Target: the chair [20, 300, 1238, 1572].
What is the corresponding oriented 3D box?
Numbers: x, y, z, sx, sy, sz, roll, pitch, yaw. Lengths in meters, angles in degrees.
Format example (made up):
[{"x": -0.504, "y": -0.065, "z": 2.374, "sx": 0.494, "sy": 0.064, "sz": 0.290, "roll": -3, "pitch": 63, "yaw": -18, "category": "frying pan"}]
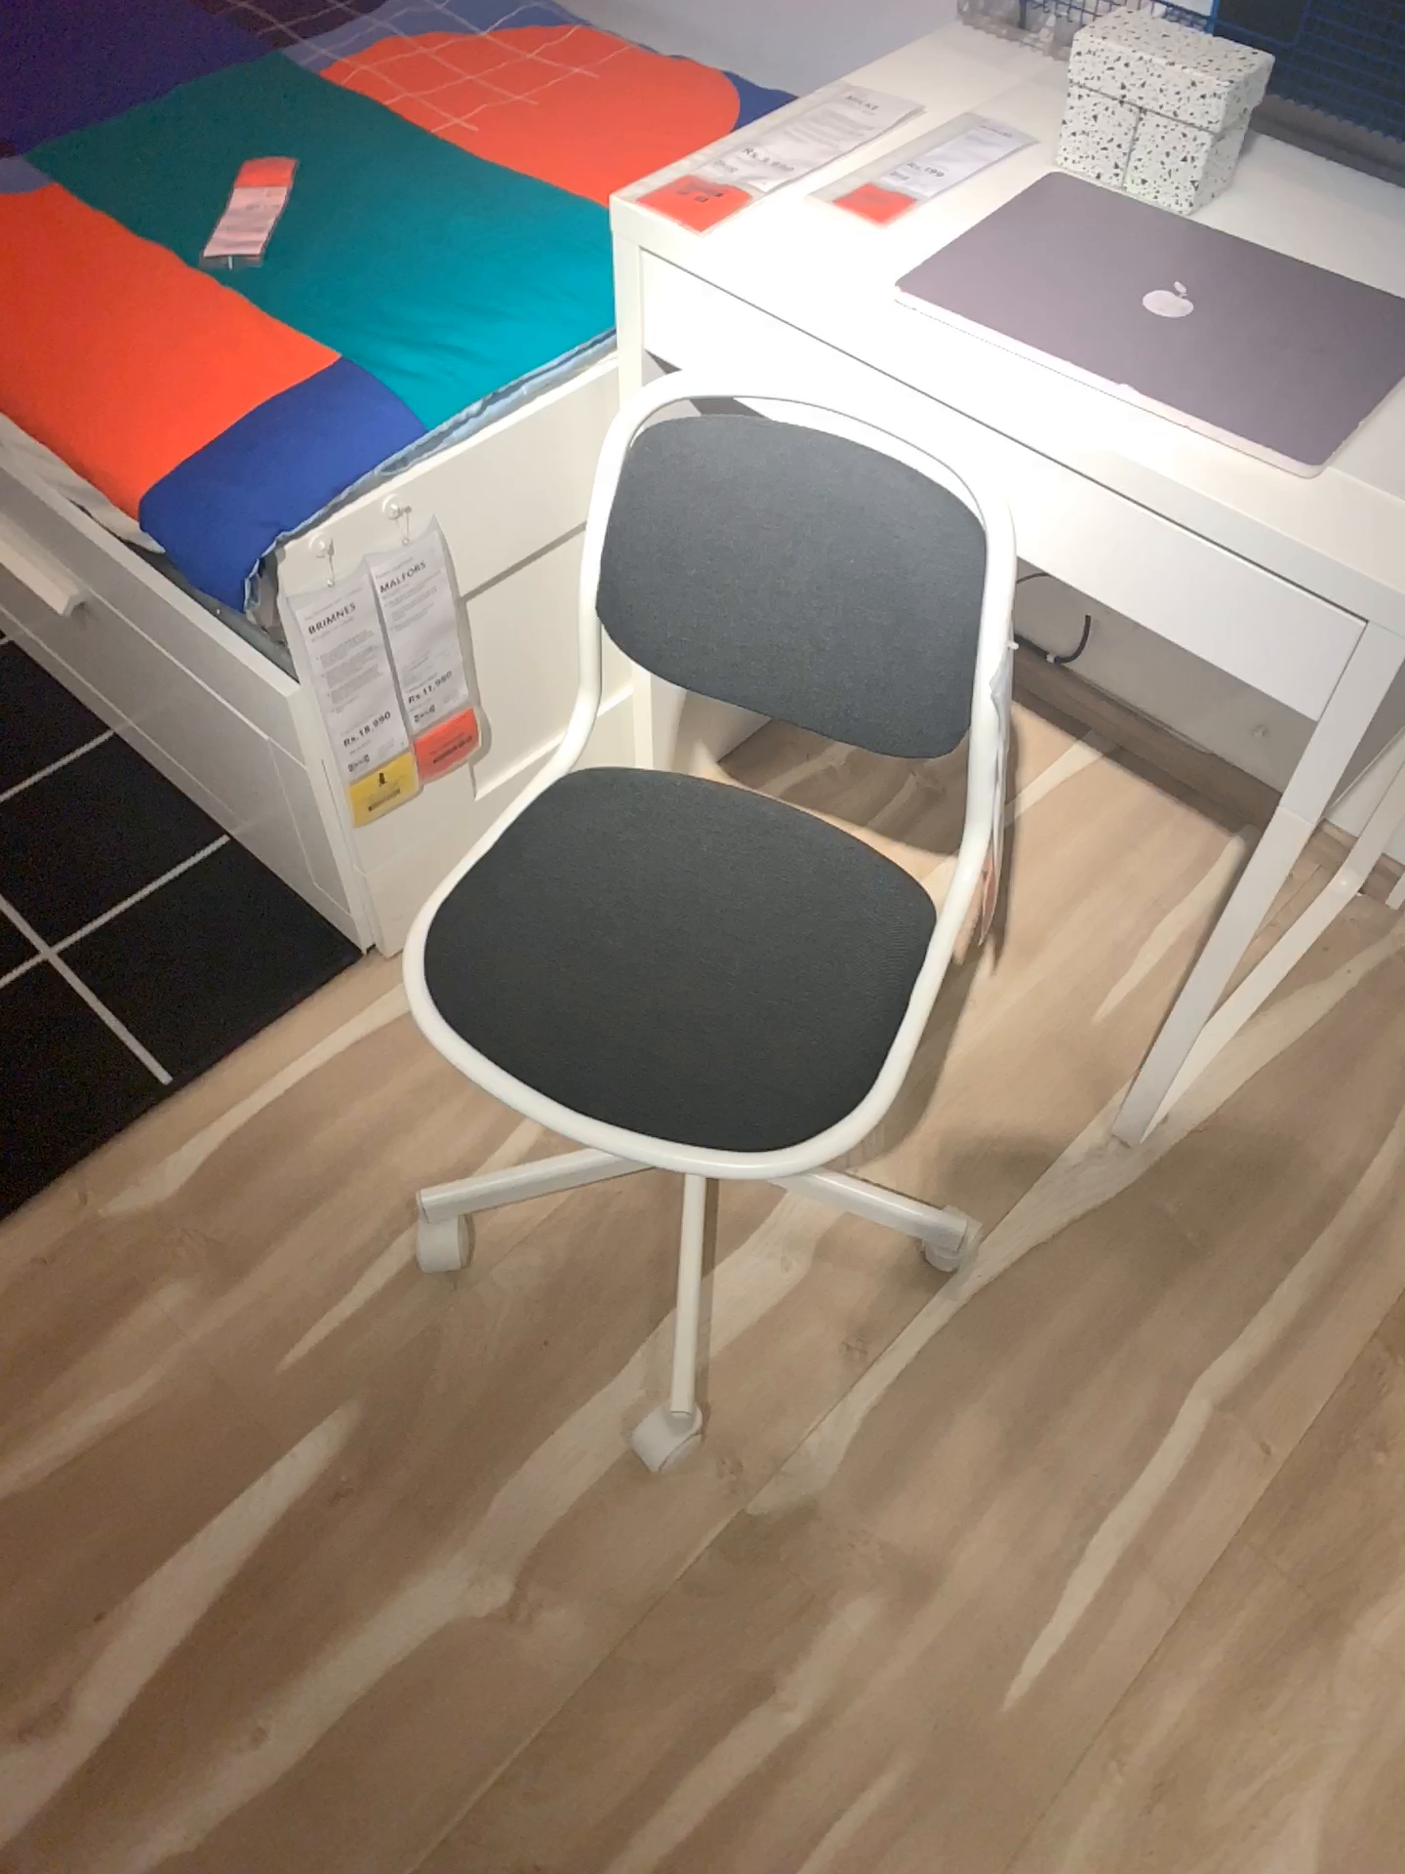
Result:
[{"x": 0.001, "y": 0.012, "z": 1.144, "sx": 0.550, "sy": 0.658, "sz": 0.621, "roll": 18, "pitch": 55, "yaw": 13, "category": "chair"}]
